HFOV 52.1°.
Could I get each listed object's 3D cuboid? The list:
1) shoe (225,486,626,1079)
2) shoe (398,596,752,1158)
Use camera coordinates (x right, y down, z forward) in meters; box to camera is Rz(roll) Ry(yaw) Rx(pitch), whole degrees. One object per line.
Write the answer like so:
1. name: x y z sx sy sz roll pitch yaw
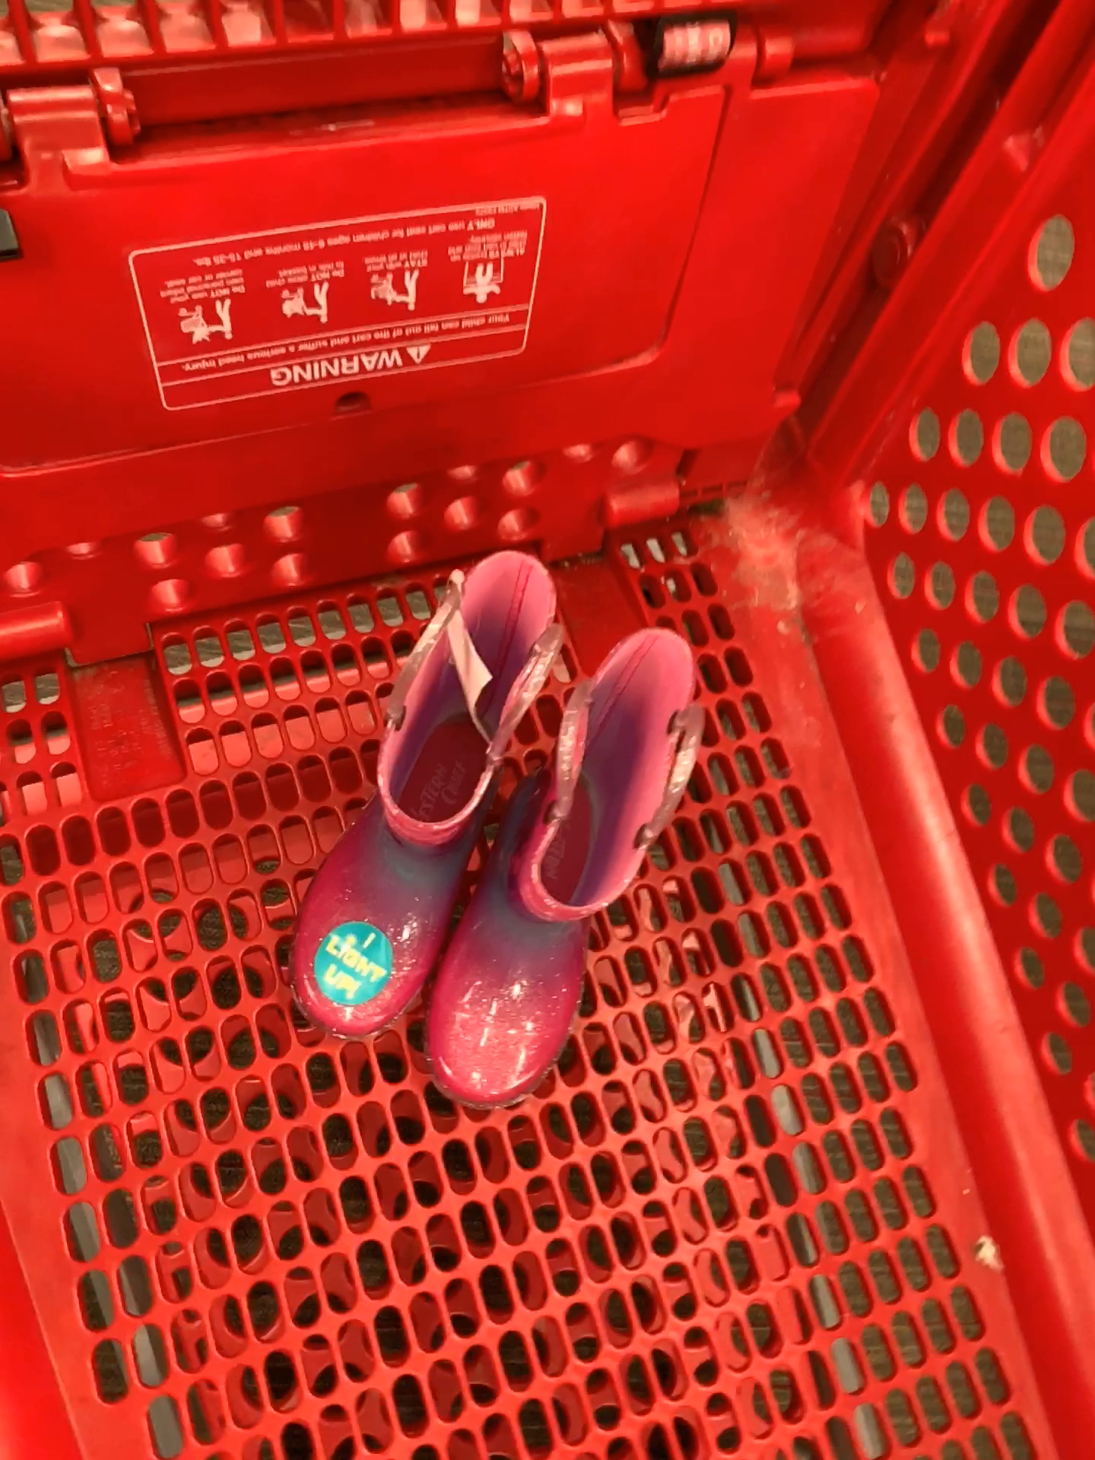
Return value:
1. shoe: -0.050 0.029 0.456 0.070 0.140 0.200 22 72 -5
2. shoe: 0.006 0.065 0.469 0.070 0.140 0.190 19 72 -6
